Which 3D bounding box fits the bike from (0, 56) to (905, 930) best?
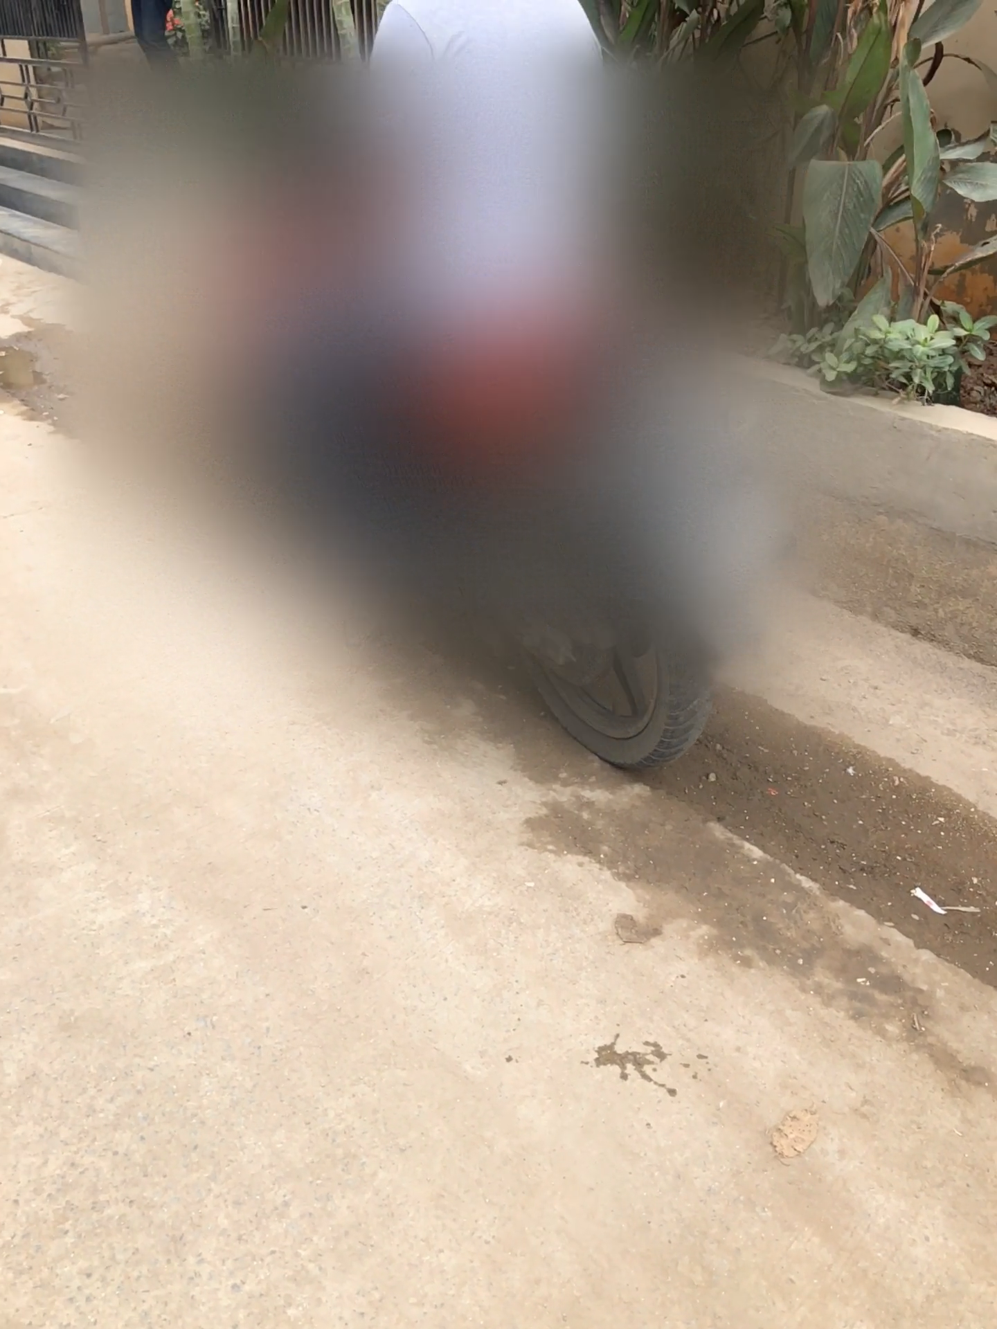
[{"bbox_3d":[-0.262,-0.542,2.315,0.692,1.207,1.792,-22,38,-32],"label":"bike"}]
